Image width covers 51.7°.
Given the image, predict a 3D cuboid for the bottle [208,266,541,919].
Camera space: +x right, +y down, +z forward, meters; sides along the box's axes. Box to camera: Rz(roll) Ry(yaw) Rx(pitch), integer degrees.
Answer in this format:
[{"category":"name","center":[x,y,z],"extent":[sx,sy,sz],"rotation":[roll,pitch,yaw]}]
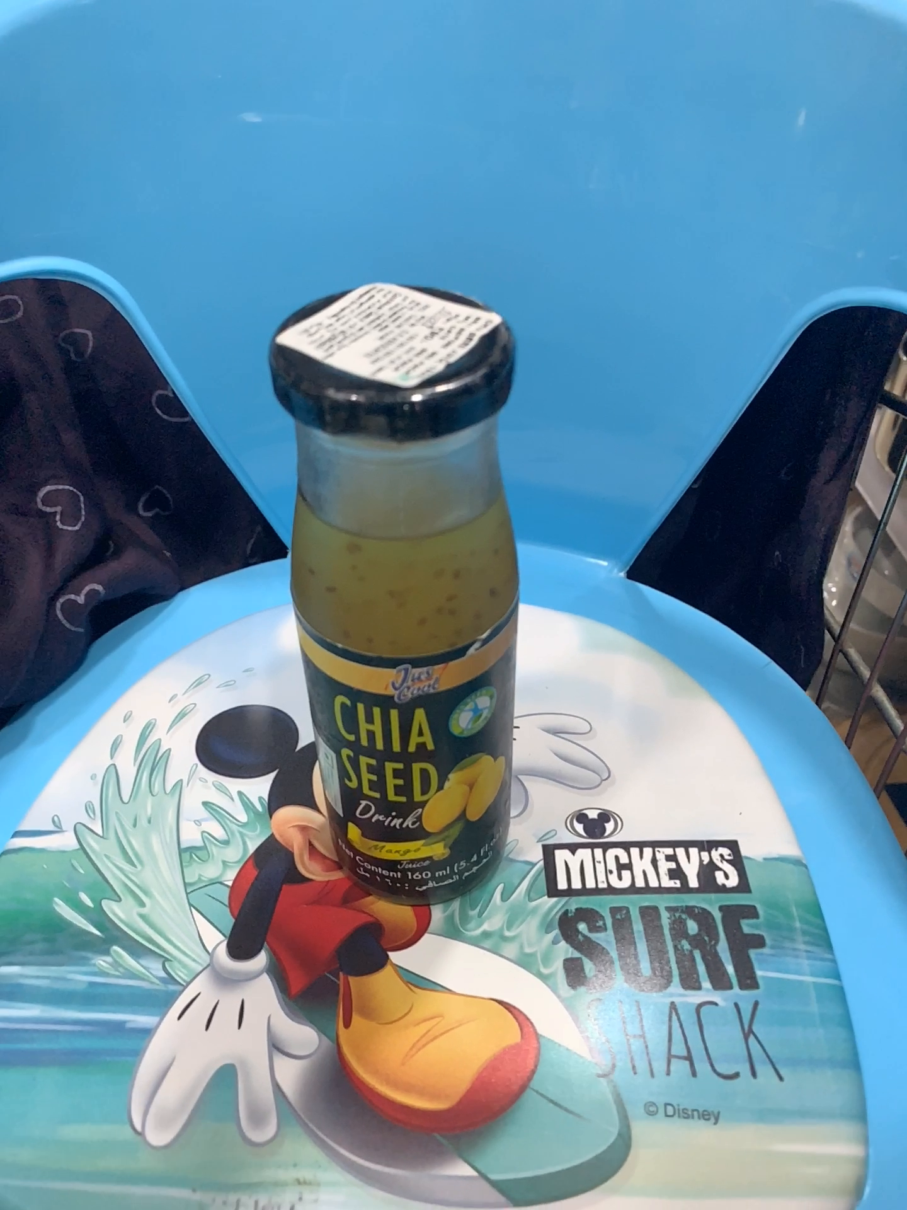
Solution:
[{"category":"bottle","center":[-0.010,0.004,0.208],"extent":[0.050,0.139,0.050],"rotation":[-1,37,1]}]
